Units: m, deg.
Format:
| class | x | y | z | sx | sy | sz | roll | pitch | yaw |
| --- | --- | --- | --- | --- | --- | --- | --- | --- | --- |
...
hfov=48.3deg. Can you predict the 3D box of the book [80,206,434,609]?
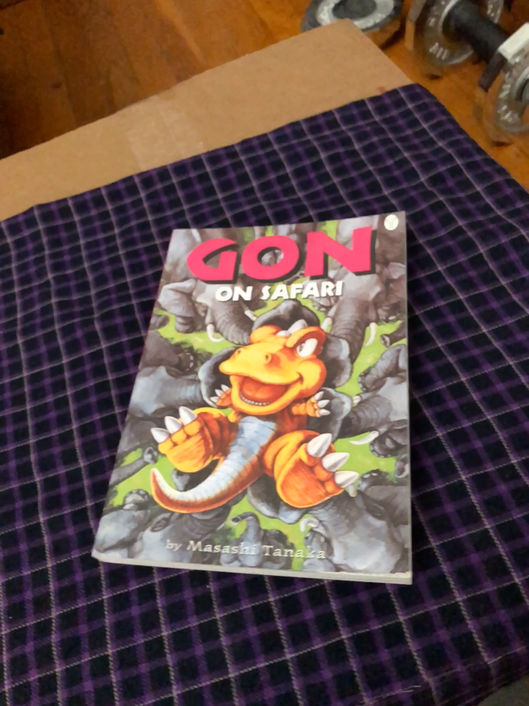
| class | x | y | z | sx | sy | sz | roll | pitch | yaw |
| --- | --- | --- | --- | --- | --- | --- | --- | --- | --- |
| book | 0.006 | 0.011 | 0.306 | 0.150 | 0.020 | 0.211 | 0 | 58 | 13 |
